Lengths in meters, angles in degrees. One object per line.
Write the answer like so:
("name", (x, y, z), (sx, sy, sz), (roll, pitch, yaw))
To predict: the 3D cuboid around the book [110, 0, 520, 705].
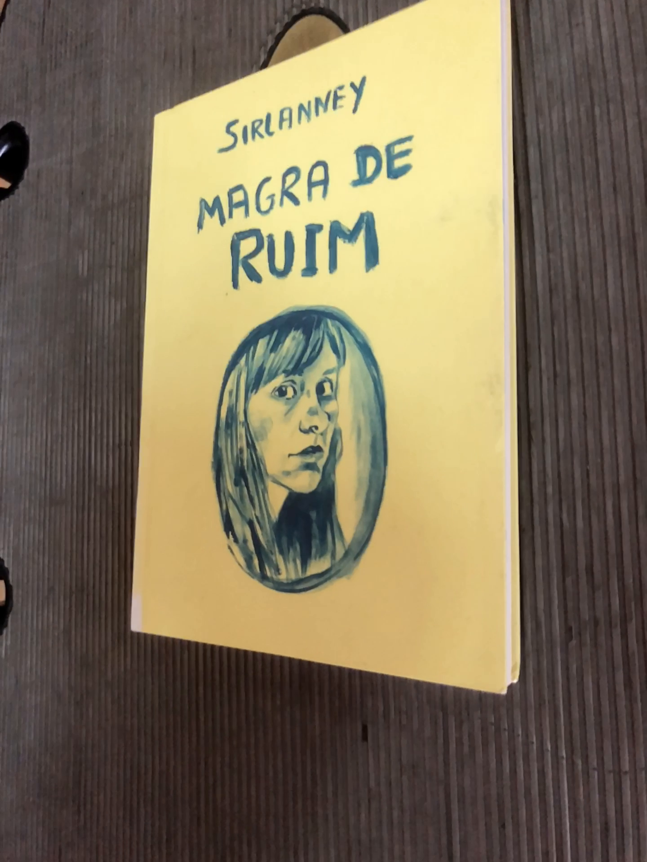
("book", (-0.011, -0.031, 0.243), (0.150, 0.020, 0.210), (-2, 84, 35))
